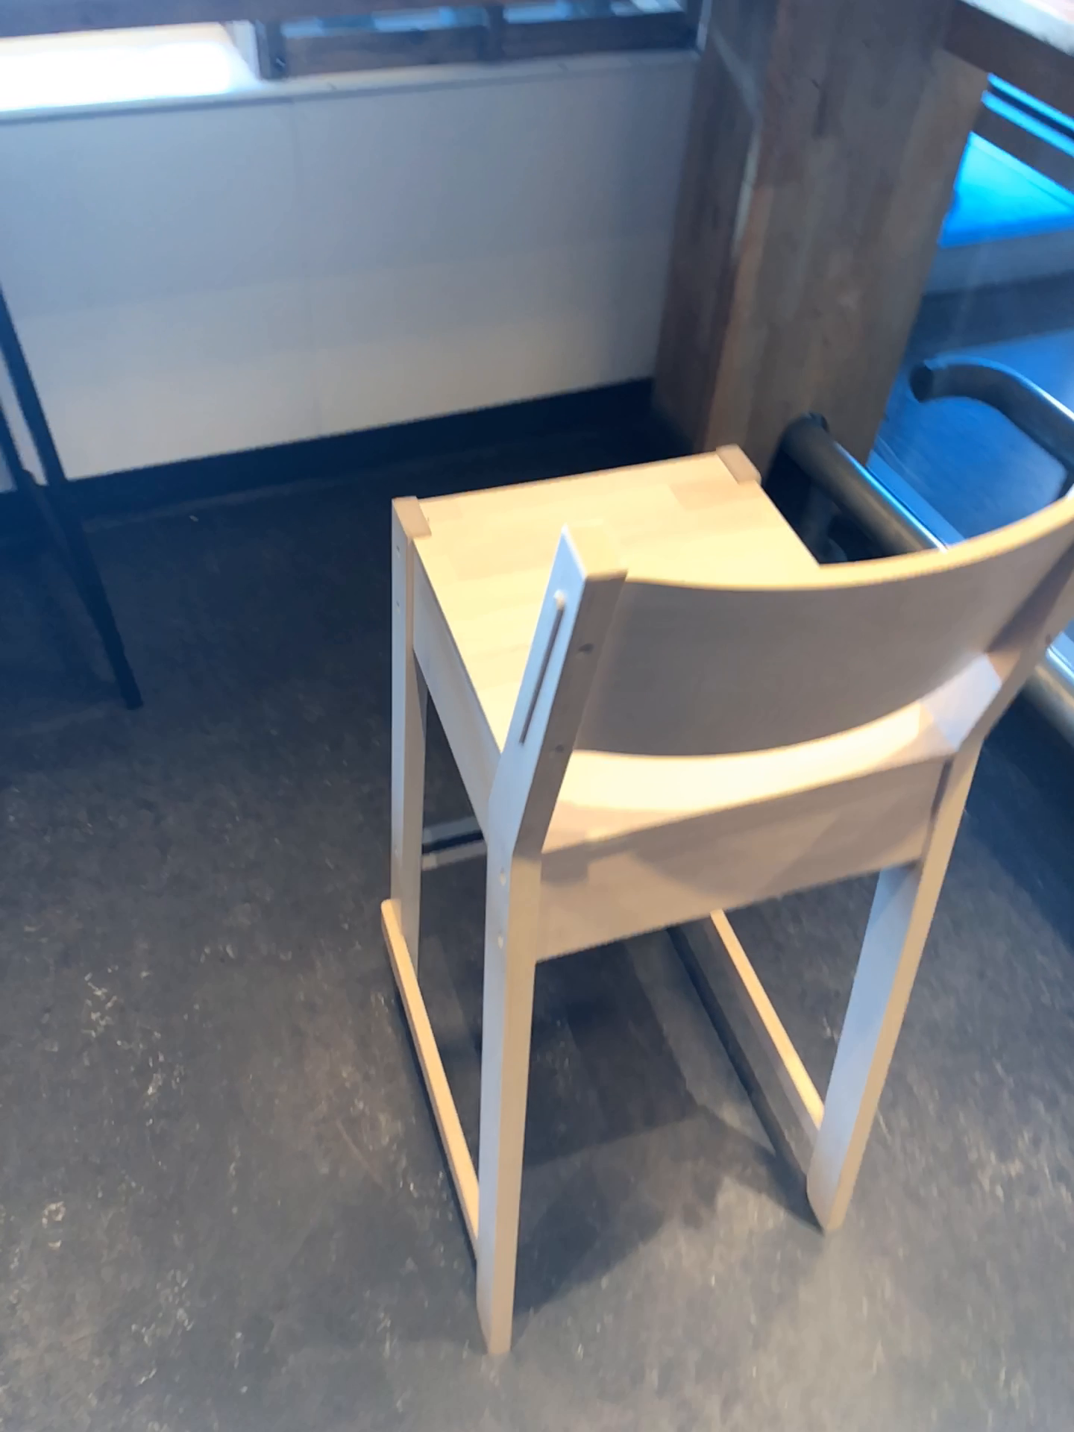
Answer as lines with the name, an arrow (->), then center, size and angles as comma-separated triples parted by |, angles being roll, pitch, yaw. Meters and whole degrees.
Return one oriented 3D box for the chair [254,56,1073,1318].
chair -> 0.078, 0.035, 1.076 | 0.460, 0.976, 0.542 | -12, 48, -16
